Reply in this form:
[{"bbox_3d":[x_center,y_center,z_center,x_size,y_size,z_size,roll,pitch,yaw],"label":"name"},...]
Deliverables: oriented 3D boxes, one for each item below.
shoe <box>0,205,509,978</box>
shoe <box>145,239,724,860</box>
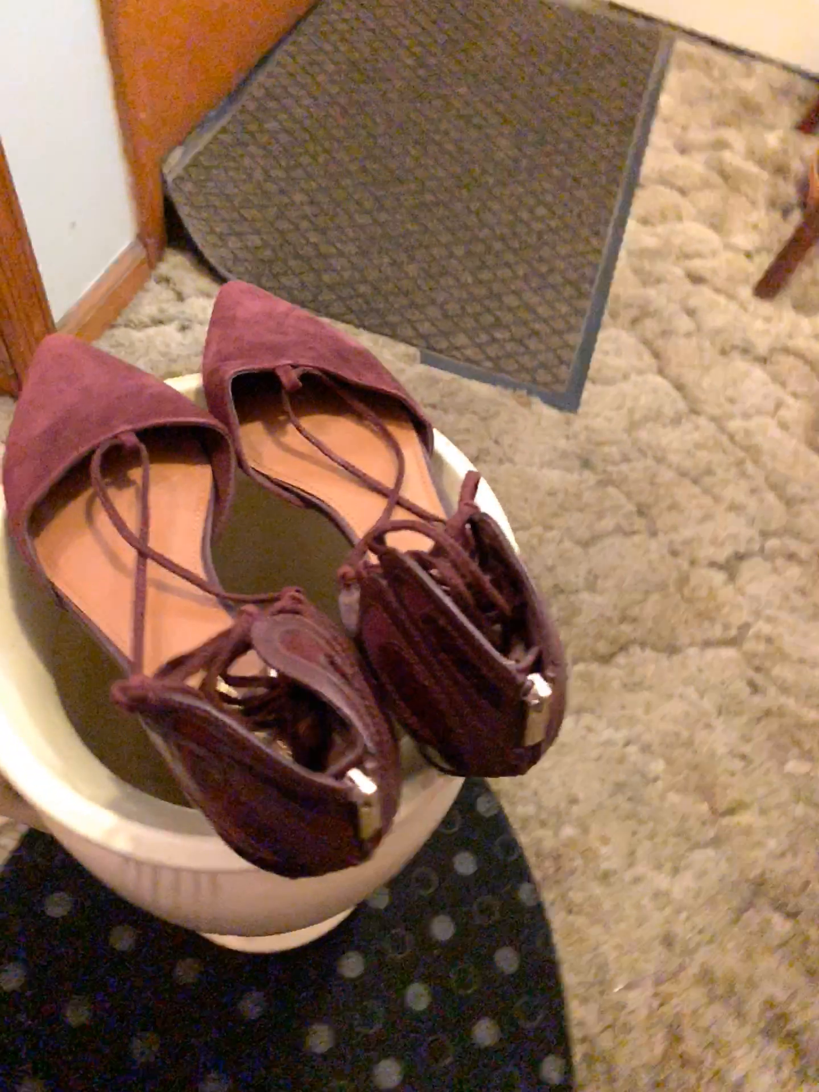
[{"bbox_3d":[-0.093,-0.014,0.294,0.090,0.070,0.281,-27,56,-23],"label":"shoe"},{"bbox_3d":[-0.016,-0.029,0.341,0.090,0.070,0.281,-20,47,-20],"label":"shoe"}]
